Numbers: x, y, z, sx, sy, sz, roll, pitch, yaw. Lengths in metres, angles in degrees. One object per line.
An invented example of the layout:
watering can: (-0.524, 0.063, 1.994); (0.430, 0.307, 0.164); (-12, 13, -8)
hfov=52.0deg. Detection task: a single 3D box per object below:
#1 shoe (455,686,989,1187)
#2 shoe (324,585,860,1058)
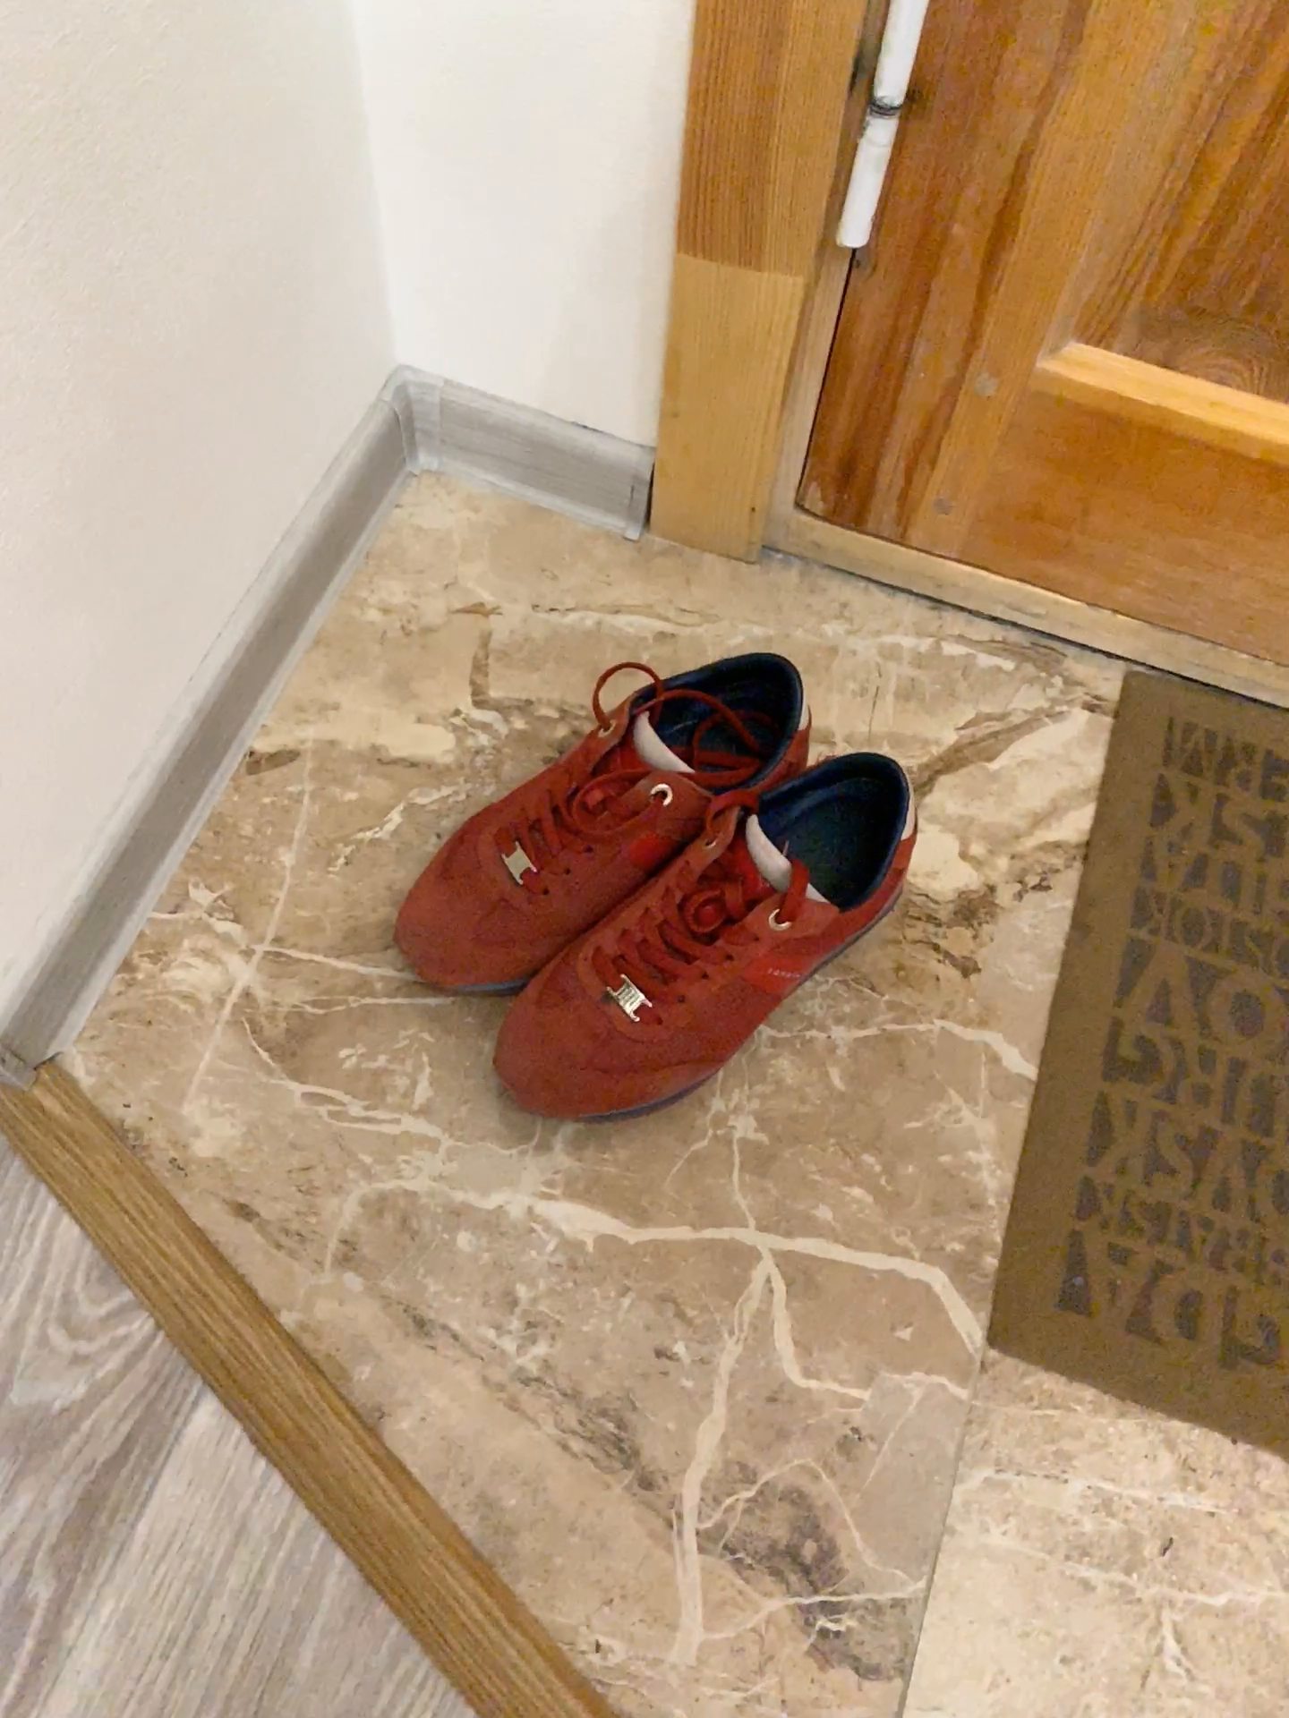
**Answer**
shoe: (0.037, 0.033, 0.628); (0.240, 0.090, 0.090); (-35, 70, -20)
shoe: (-0.022, -0.021, 0.645); (0.240, 0.090, 0.090); (-34, 69, -20)
